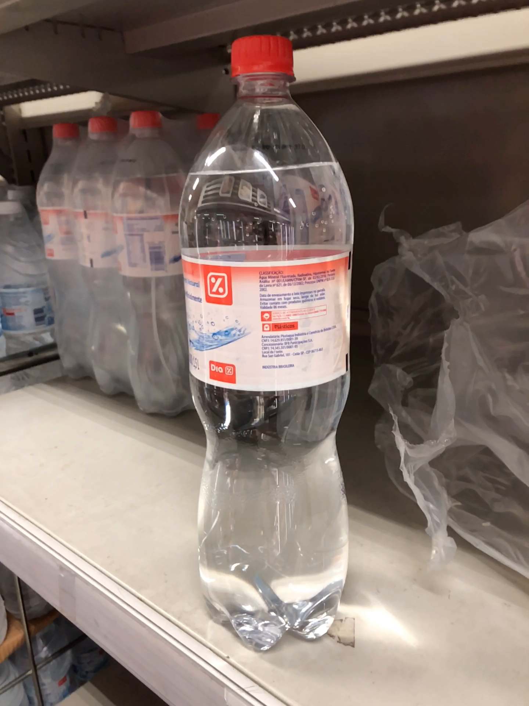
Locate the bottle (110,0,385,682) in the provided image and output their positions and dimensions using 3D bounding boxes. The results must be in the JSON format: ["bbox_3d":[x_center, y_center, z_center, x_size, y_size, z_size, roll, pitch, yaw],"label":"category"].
[{"bbox_3d":[-0.005,-0.001,0.321,0.100,0.318,0.101,-4,18,1],"label":"bottle"}]
